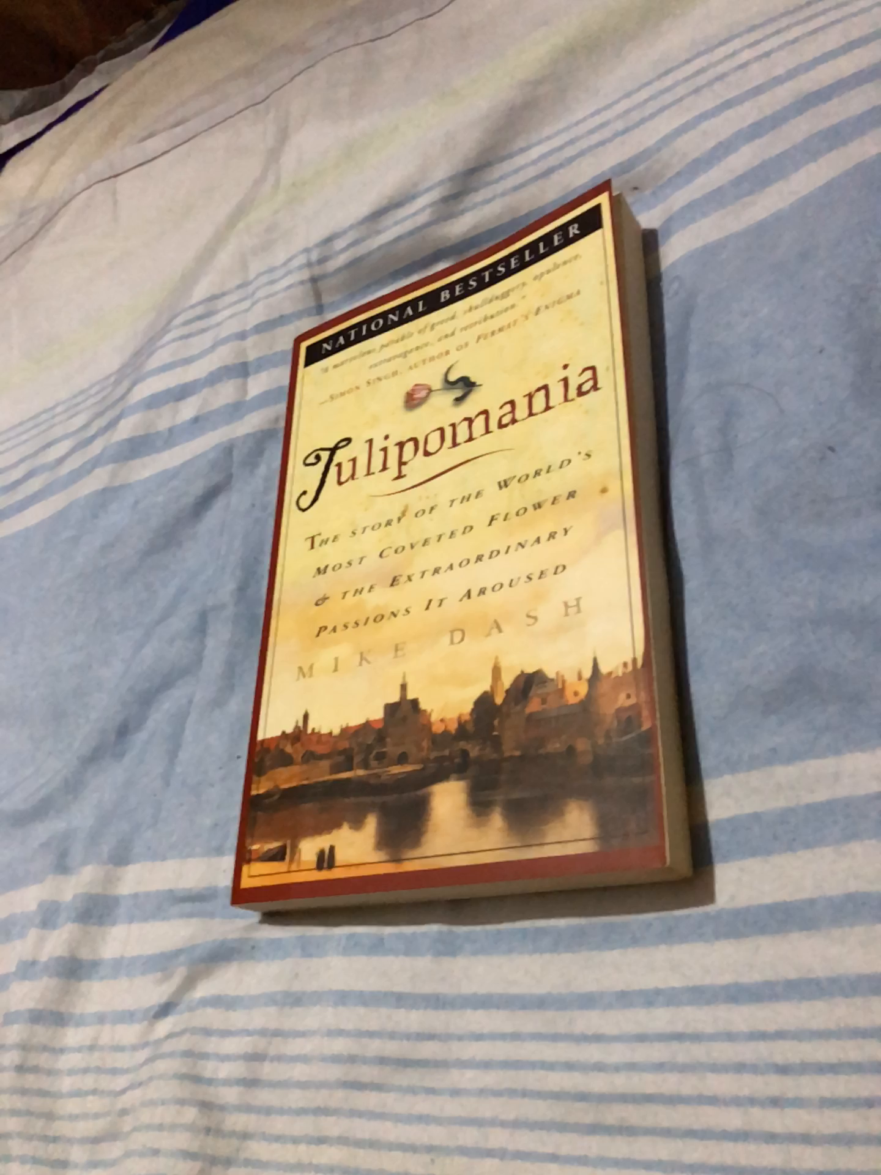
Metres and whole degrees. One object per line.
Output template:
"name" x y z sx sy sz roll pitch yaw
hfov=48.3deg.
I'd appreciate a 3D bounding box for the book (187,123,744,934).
"book" 0.006 -0.019 0.309 0.140 0.050 0.230 -15 57 30
